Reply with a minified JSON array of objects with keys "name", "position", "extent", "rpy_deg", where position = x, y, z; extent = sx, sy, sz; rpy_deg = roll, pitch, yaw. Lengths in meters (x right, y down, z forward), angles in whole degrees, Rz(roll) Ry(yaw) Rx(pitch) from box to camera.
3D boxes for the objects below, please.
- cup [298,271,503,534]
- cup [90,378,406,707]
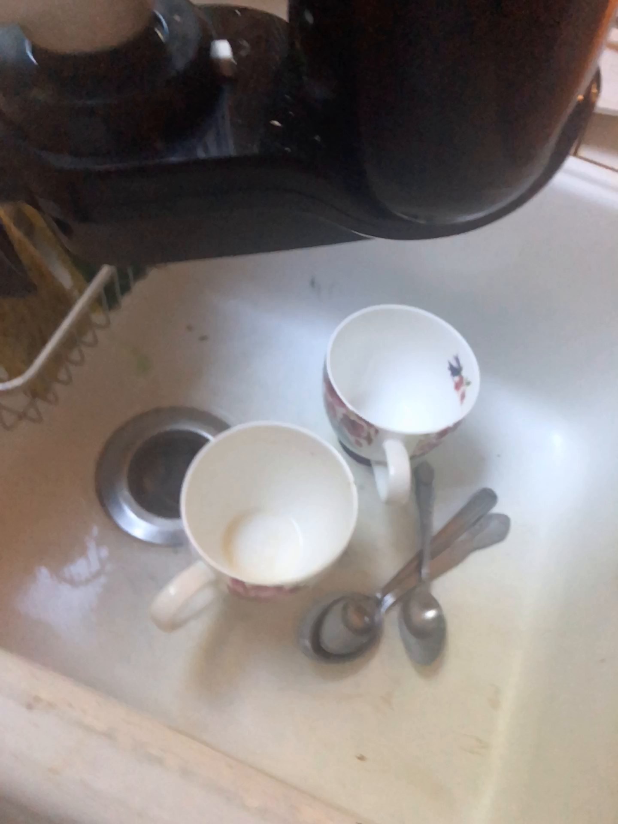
[{"name":"cup","position":[0.056,-0.007,0.462],"extent":[0.110,0.070,0.151],"rpy_deg":[7,58,-6]},{"name":"cup","position":[-0.032,0.071,0.396],"extent":[0.100,0.070,0.141],"rpy_deg":[38,60,13]}]
